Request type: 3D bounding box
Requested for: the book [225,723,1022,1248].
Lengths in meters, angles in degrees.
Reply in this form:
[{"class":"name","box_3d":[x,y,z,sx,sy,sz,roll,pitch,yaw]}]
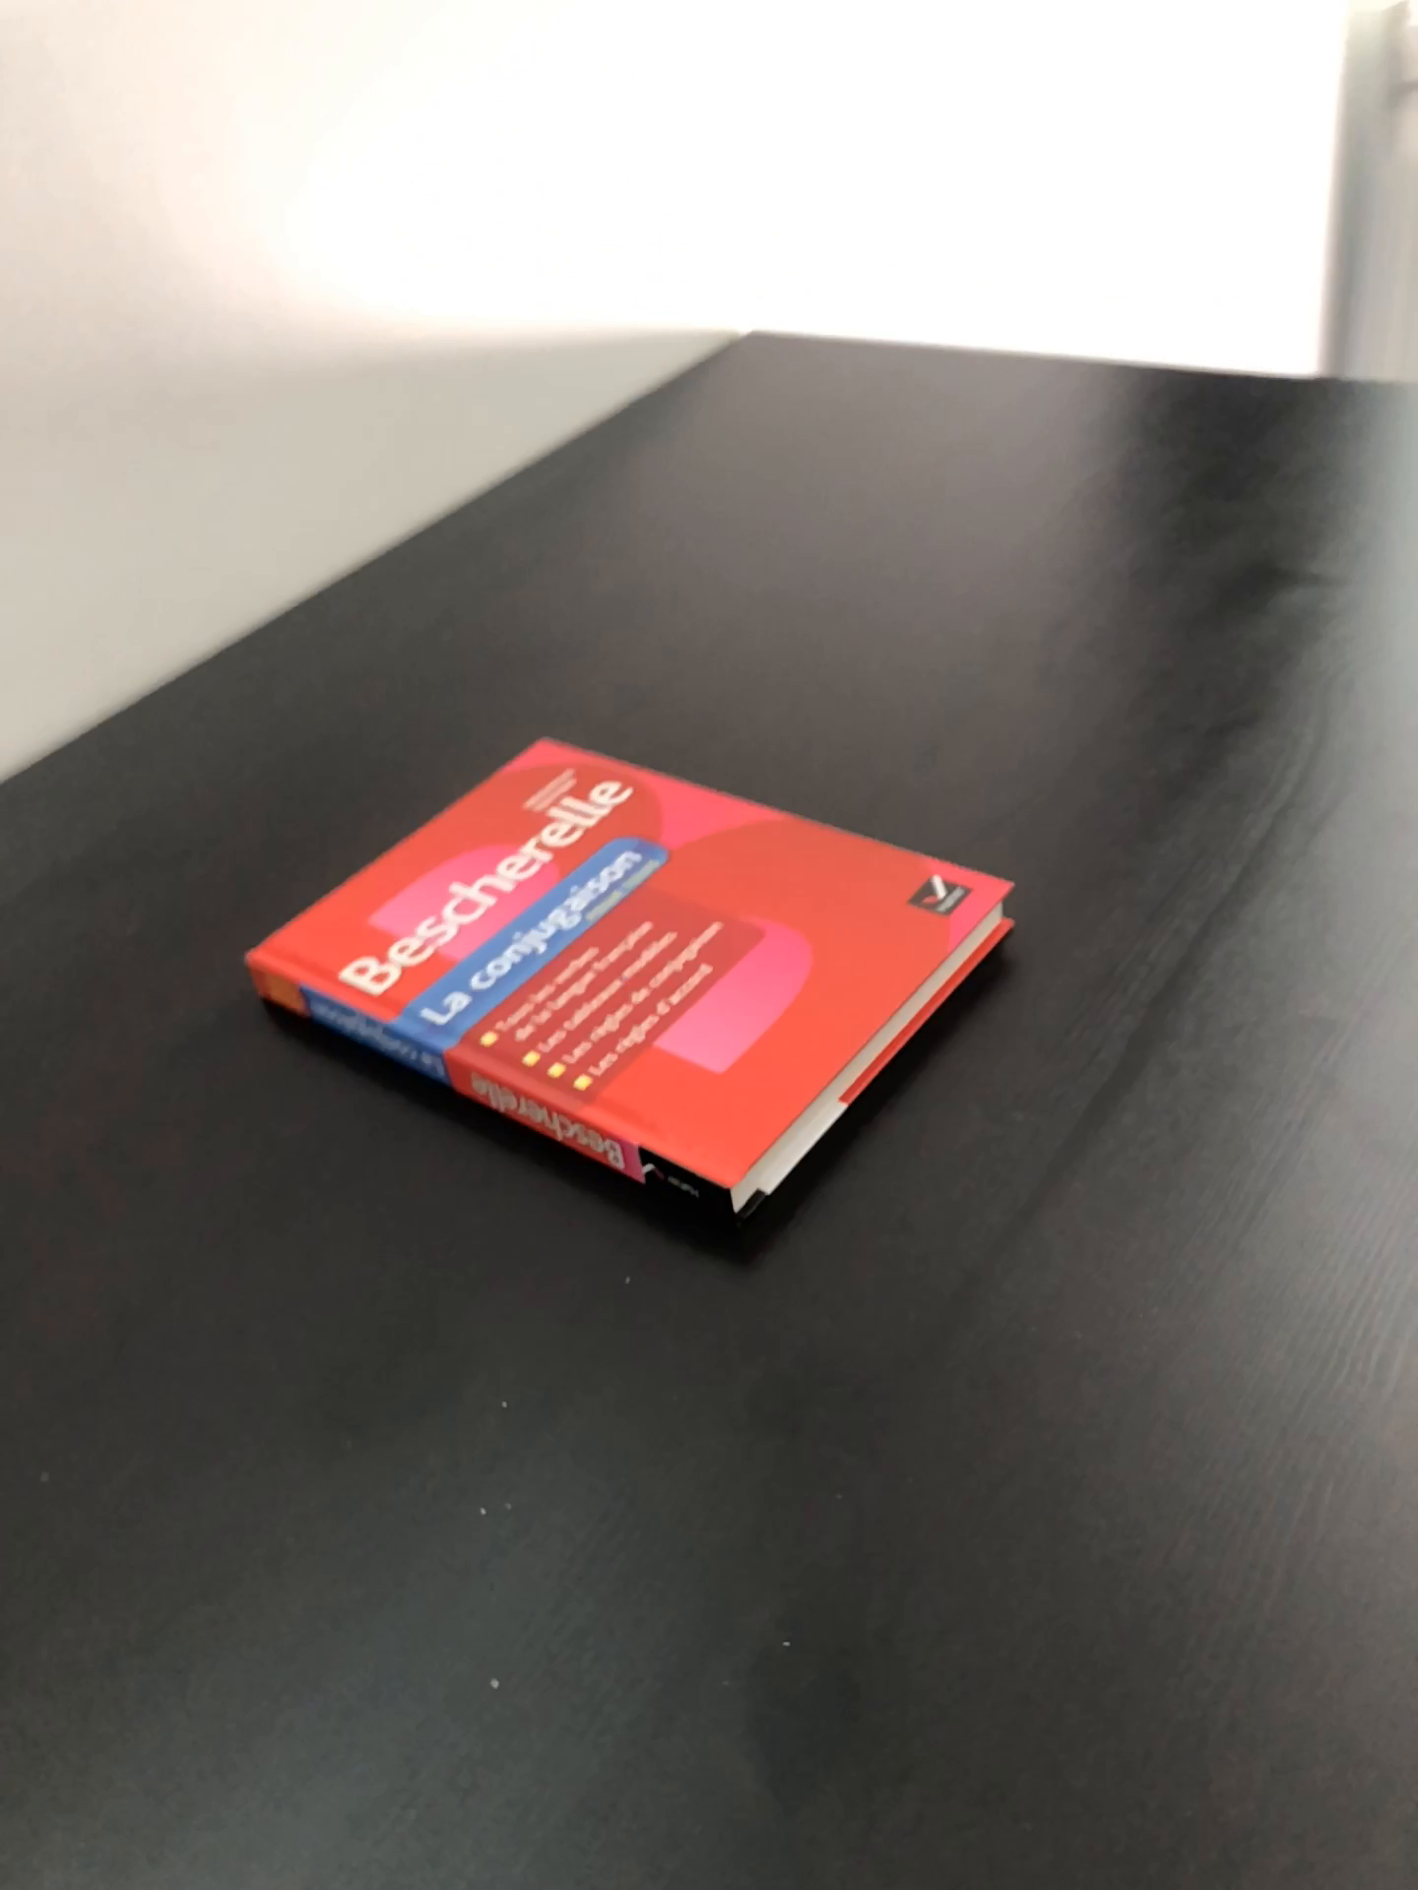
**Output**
[{"class":"book","box_3d":[-0.030,-0.003,0.496,0.203,0.020,0.151,21,48,34]}]
